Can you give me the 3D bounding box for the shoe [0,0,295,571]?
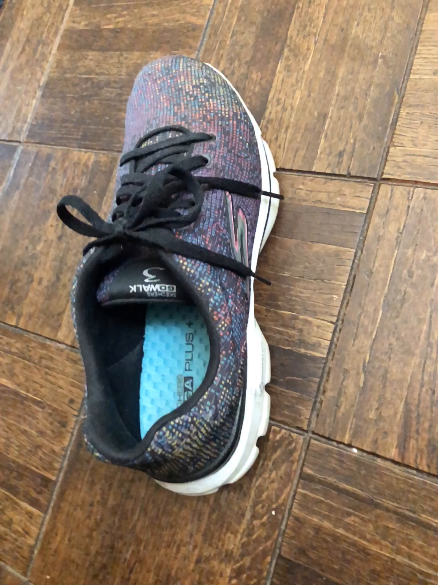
[{"bbox_3d":[-0.027,-0.026,0.279,0.110,0.120,0.290,-4,75,23],"label":"shoe"}]
